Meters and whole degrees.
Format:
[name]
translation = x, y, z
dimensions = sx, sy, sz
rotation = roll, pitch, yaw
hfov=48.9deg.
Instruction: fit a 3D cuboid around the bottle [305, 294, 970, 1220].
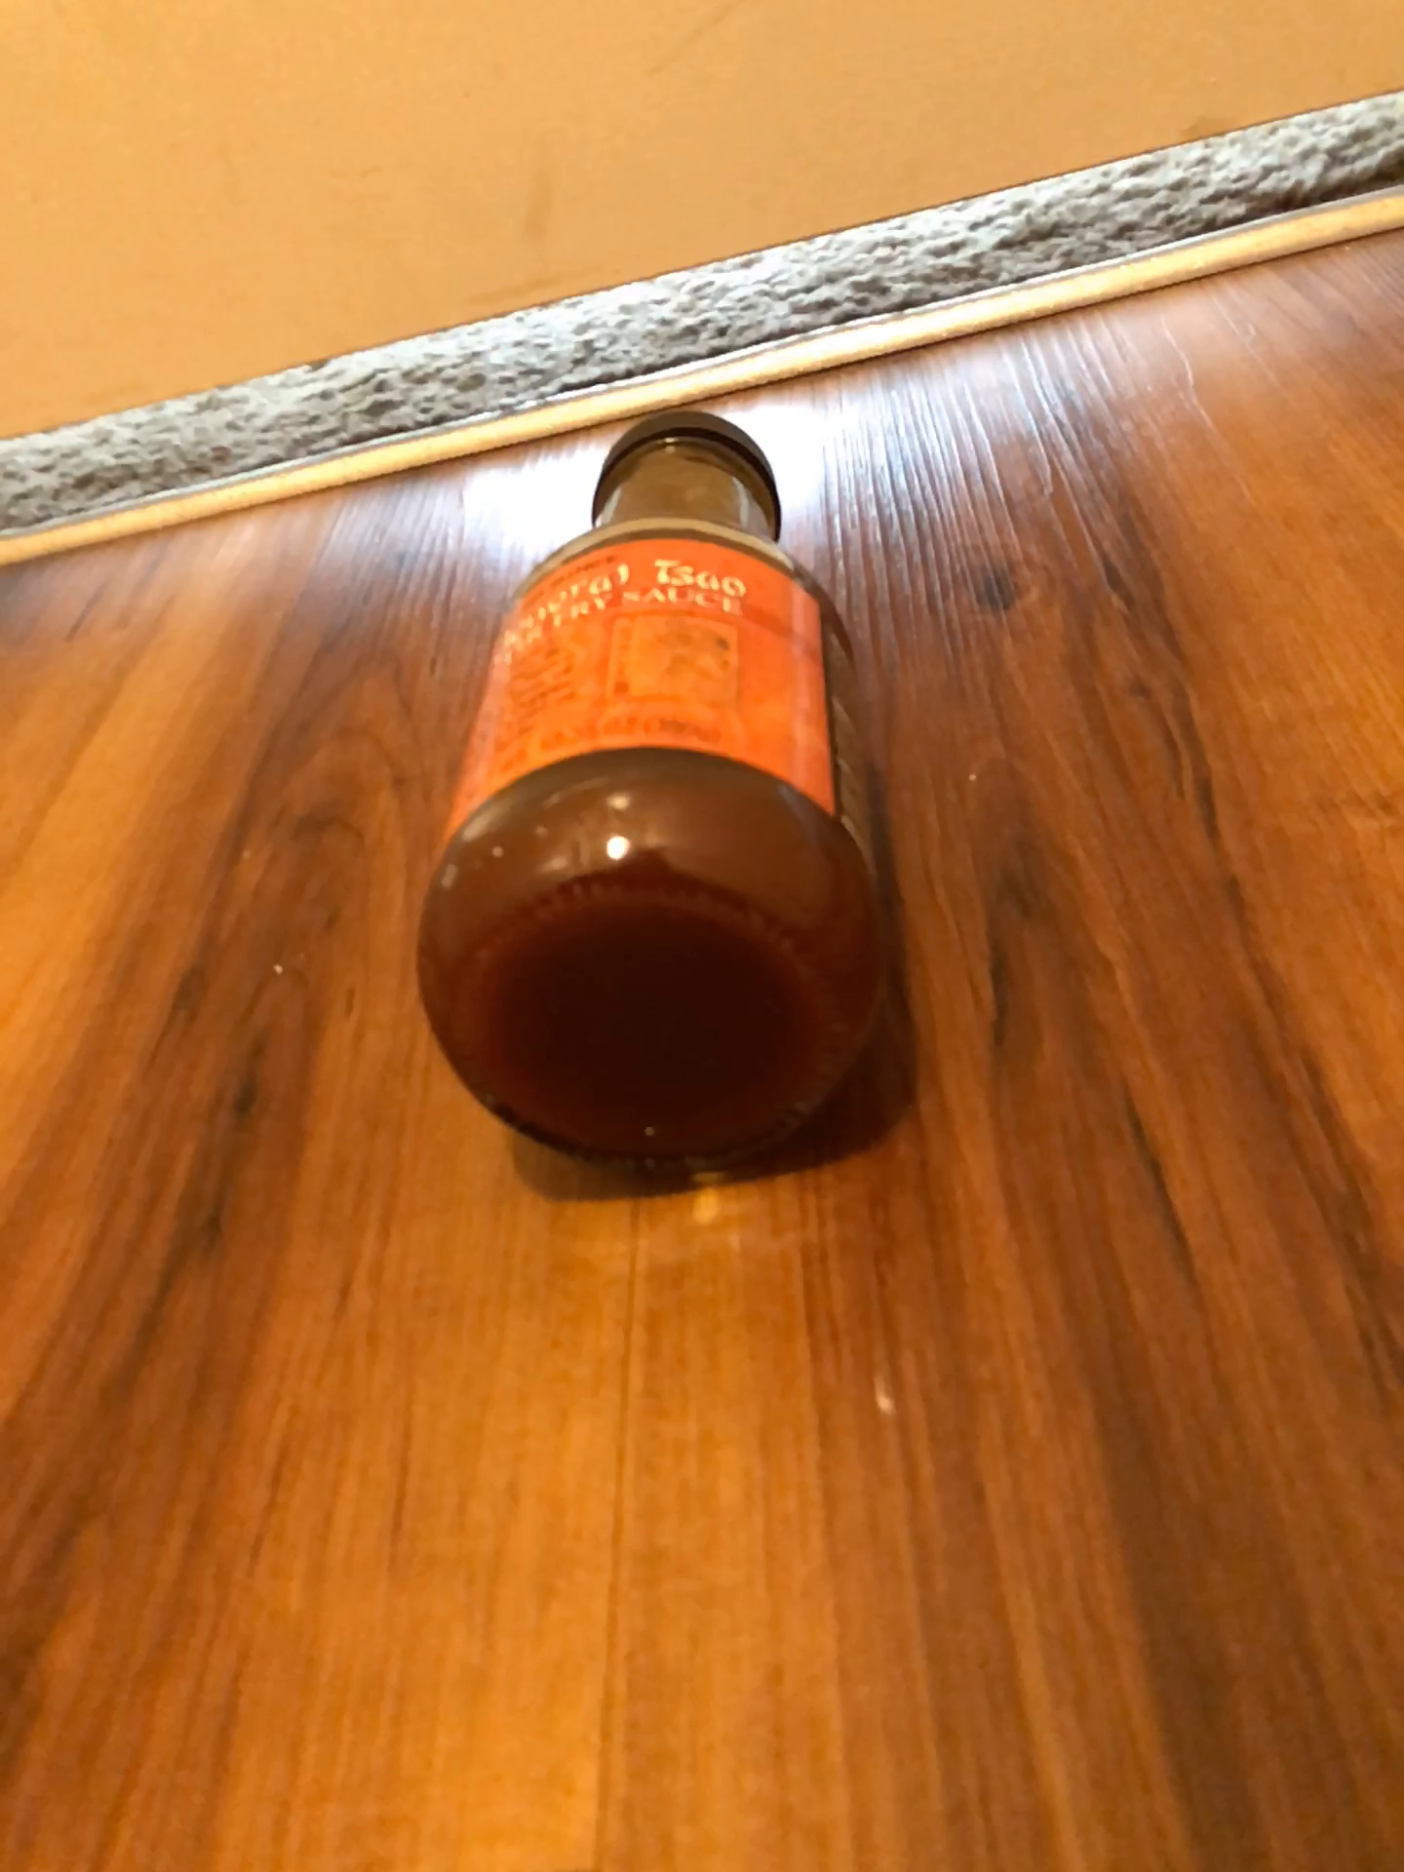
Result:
[bottle]
translation = -0.005, -0.045, 0.268
dimensions = 0.068, 0.060, 0.181
rotation = -14, 36, 12
